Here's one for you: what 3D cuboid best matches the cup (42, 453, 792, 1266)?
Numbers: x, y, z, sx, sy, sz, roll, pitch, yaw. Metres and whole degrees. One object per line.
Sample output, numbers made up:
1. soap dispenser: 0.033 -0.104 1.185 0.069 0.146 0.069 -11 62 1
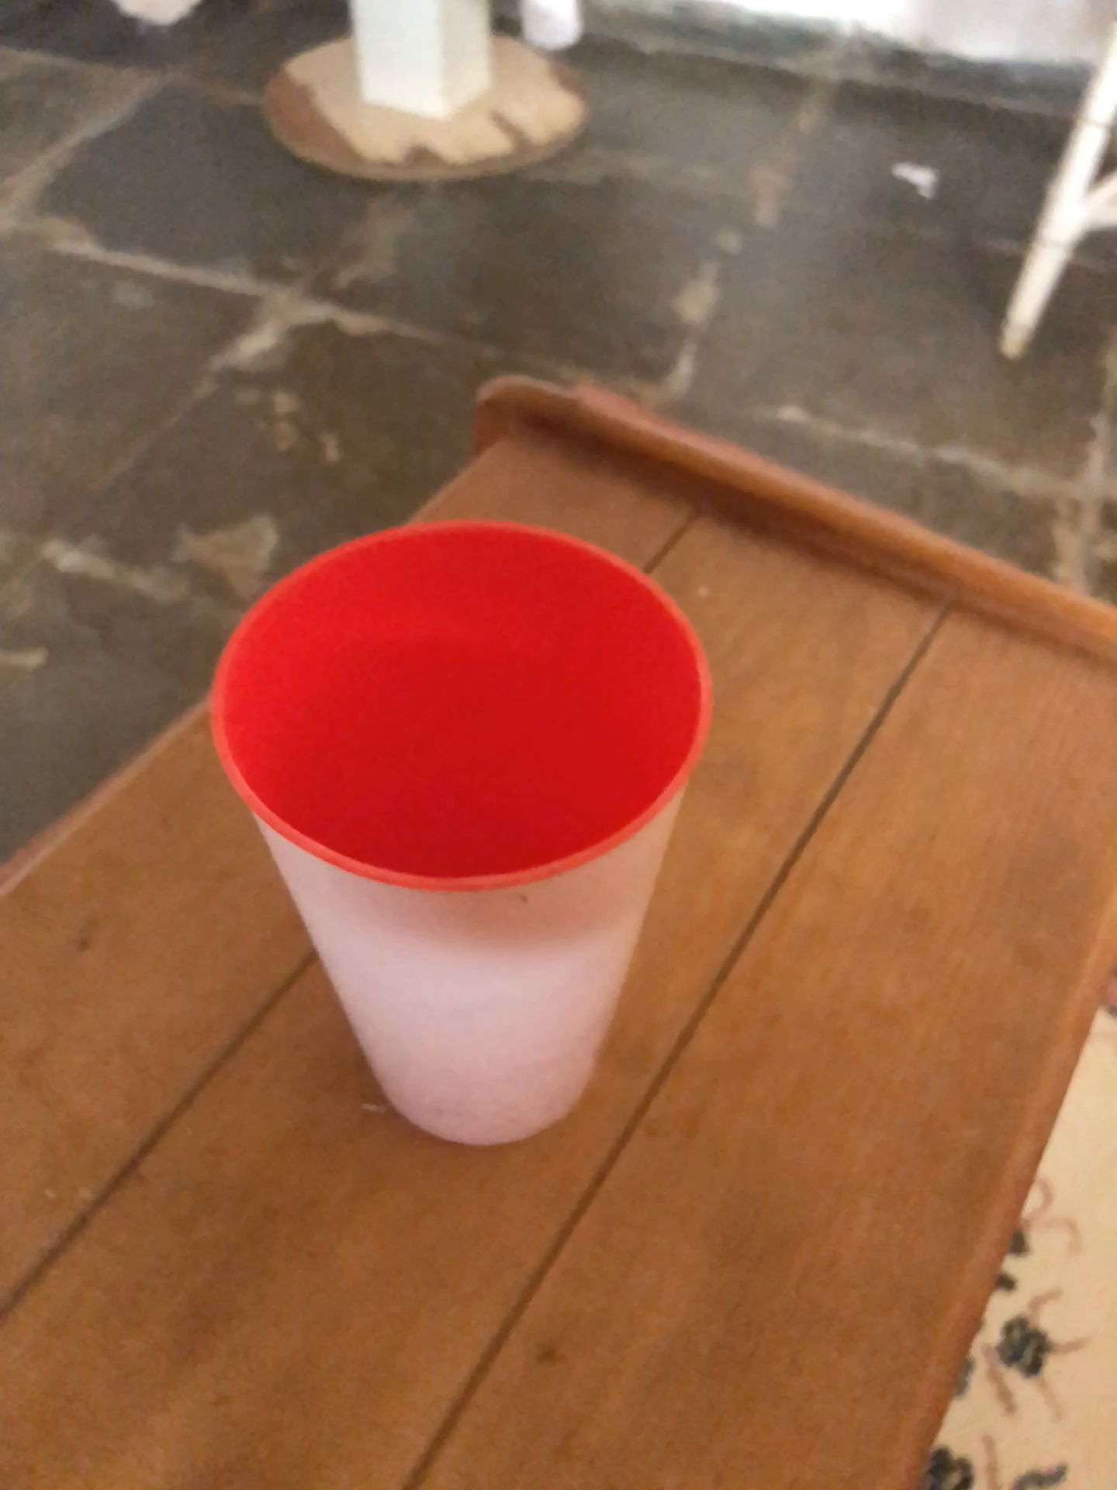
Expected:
1. cup: -0.023 0.026 0.269 0.100 0.119 0.091 24 53 17
